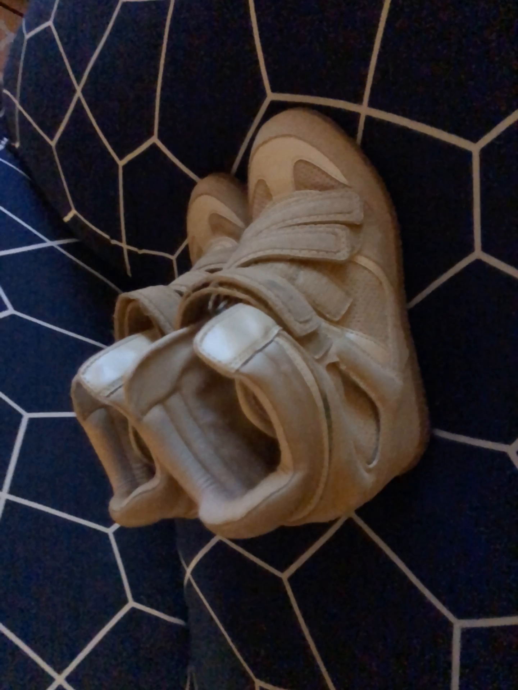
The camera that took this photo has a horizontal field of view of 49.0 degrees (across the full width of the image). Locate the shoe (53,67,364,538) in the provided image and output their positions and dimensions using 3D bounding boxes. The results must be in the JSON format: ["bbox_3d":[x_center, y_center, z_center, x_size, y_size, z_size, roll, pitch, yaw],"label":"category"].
[{"bbox_3d":[-0.041,-0.021,0.380,0.100,0.139,0.260,-27,66,42],"label":"shoe"}]

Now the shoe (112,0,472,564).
[{"bbox_3d":[0.010,-0.037,0.317,0.100,0.129,0.280,-23,69,44],"label":"shoe"}]
